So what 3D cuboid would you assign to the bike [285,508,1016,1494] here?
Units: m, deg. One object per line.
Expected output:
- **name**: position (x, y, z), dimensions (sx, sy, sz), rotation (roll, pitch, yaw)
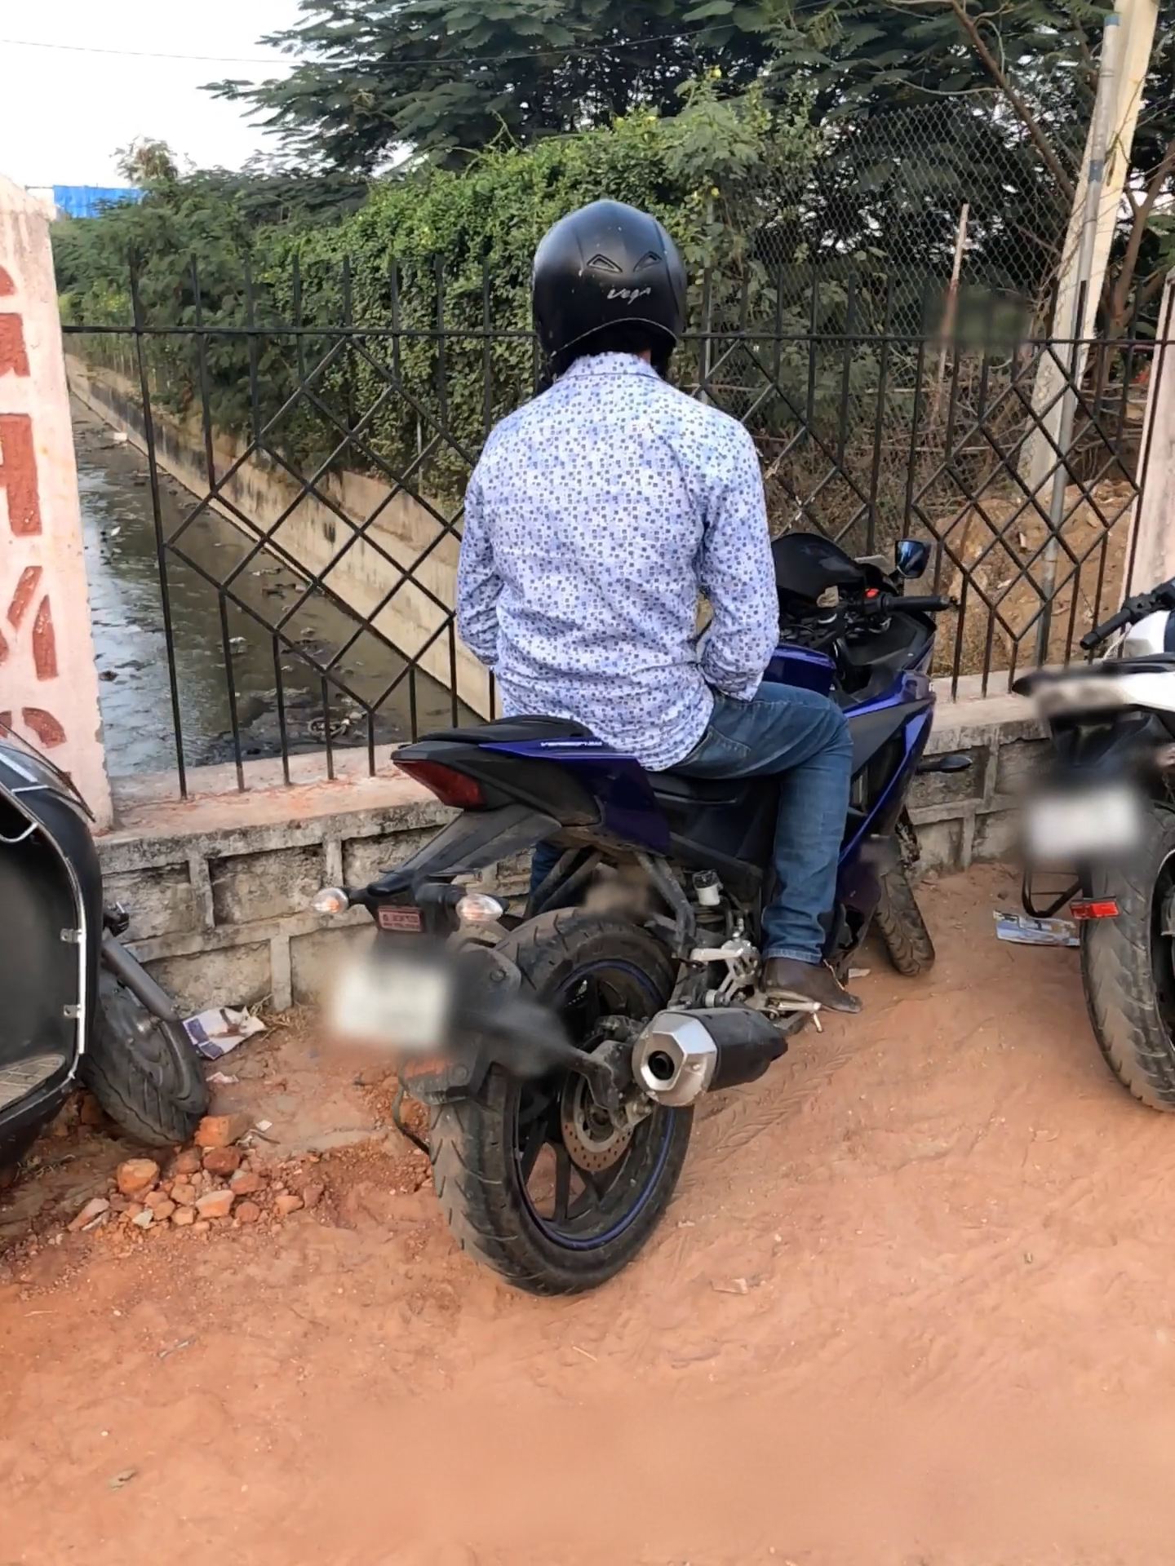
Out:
- **bike**: position (0.305, 0.123, 2.604), dimensions (0.731, 0.995, 1.954), rotation (9, 22, 23)
